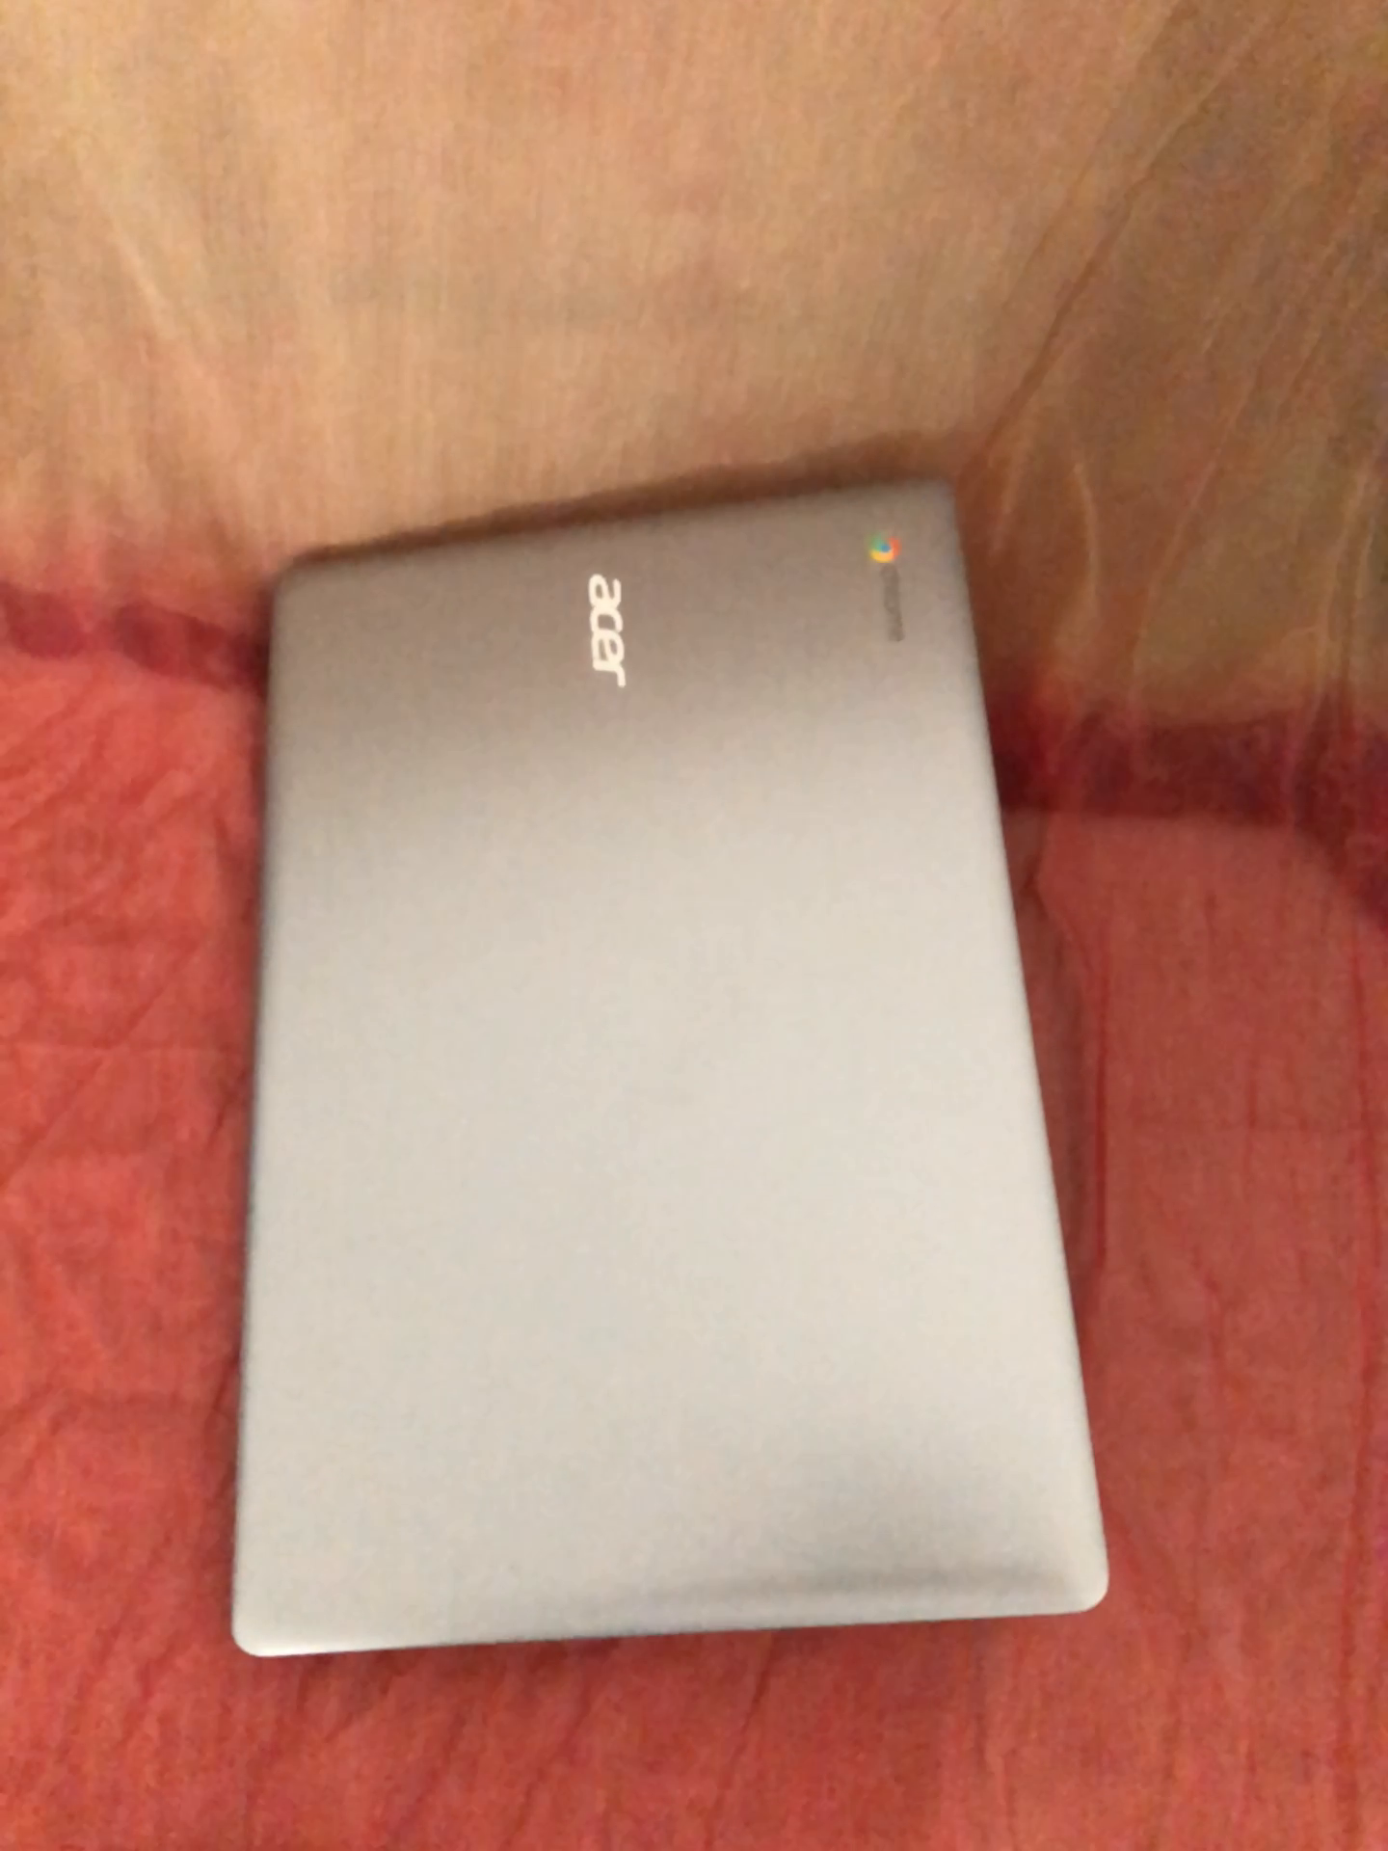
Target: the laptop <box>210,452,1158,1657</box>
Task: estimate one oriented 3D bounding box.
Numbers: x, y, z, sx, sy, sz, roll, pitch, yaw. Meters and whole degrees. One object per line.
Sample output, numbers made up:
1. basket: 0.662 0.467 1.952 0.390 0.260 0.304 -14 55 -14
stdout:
1. laptop: -0.013 0.022 0.438 0.219 0.066 0.322 -2 70 -5
